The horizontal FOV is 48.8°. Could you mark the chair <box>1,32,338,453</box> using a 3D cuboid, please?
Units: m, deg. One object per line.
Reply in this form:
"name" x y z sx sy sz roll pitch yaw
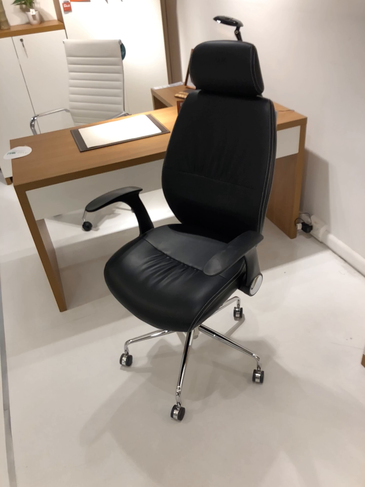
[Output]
"chair" 0.019 -0.007 1.563 0.692 1.299 0.713 26 47 35
